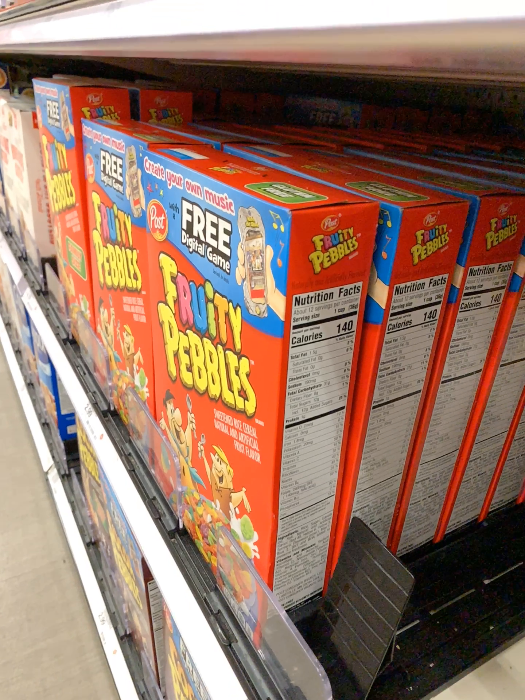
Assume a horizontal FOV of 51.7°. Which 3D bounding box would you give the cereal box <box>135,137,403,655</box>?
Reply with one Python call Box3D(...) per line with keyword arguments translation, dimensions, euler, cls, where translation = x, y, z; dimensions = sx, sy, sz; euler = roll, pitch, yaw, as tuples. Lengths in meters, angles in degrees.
Box3D(translation=(-0.019, 0.019, 0.373), dimensions=(0.060, 0.289, 0.201), euler=(-12, 30, -28), cls="cereal box")
